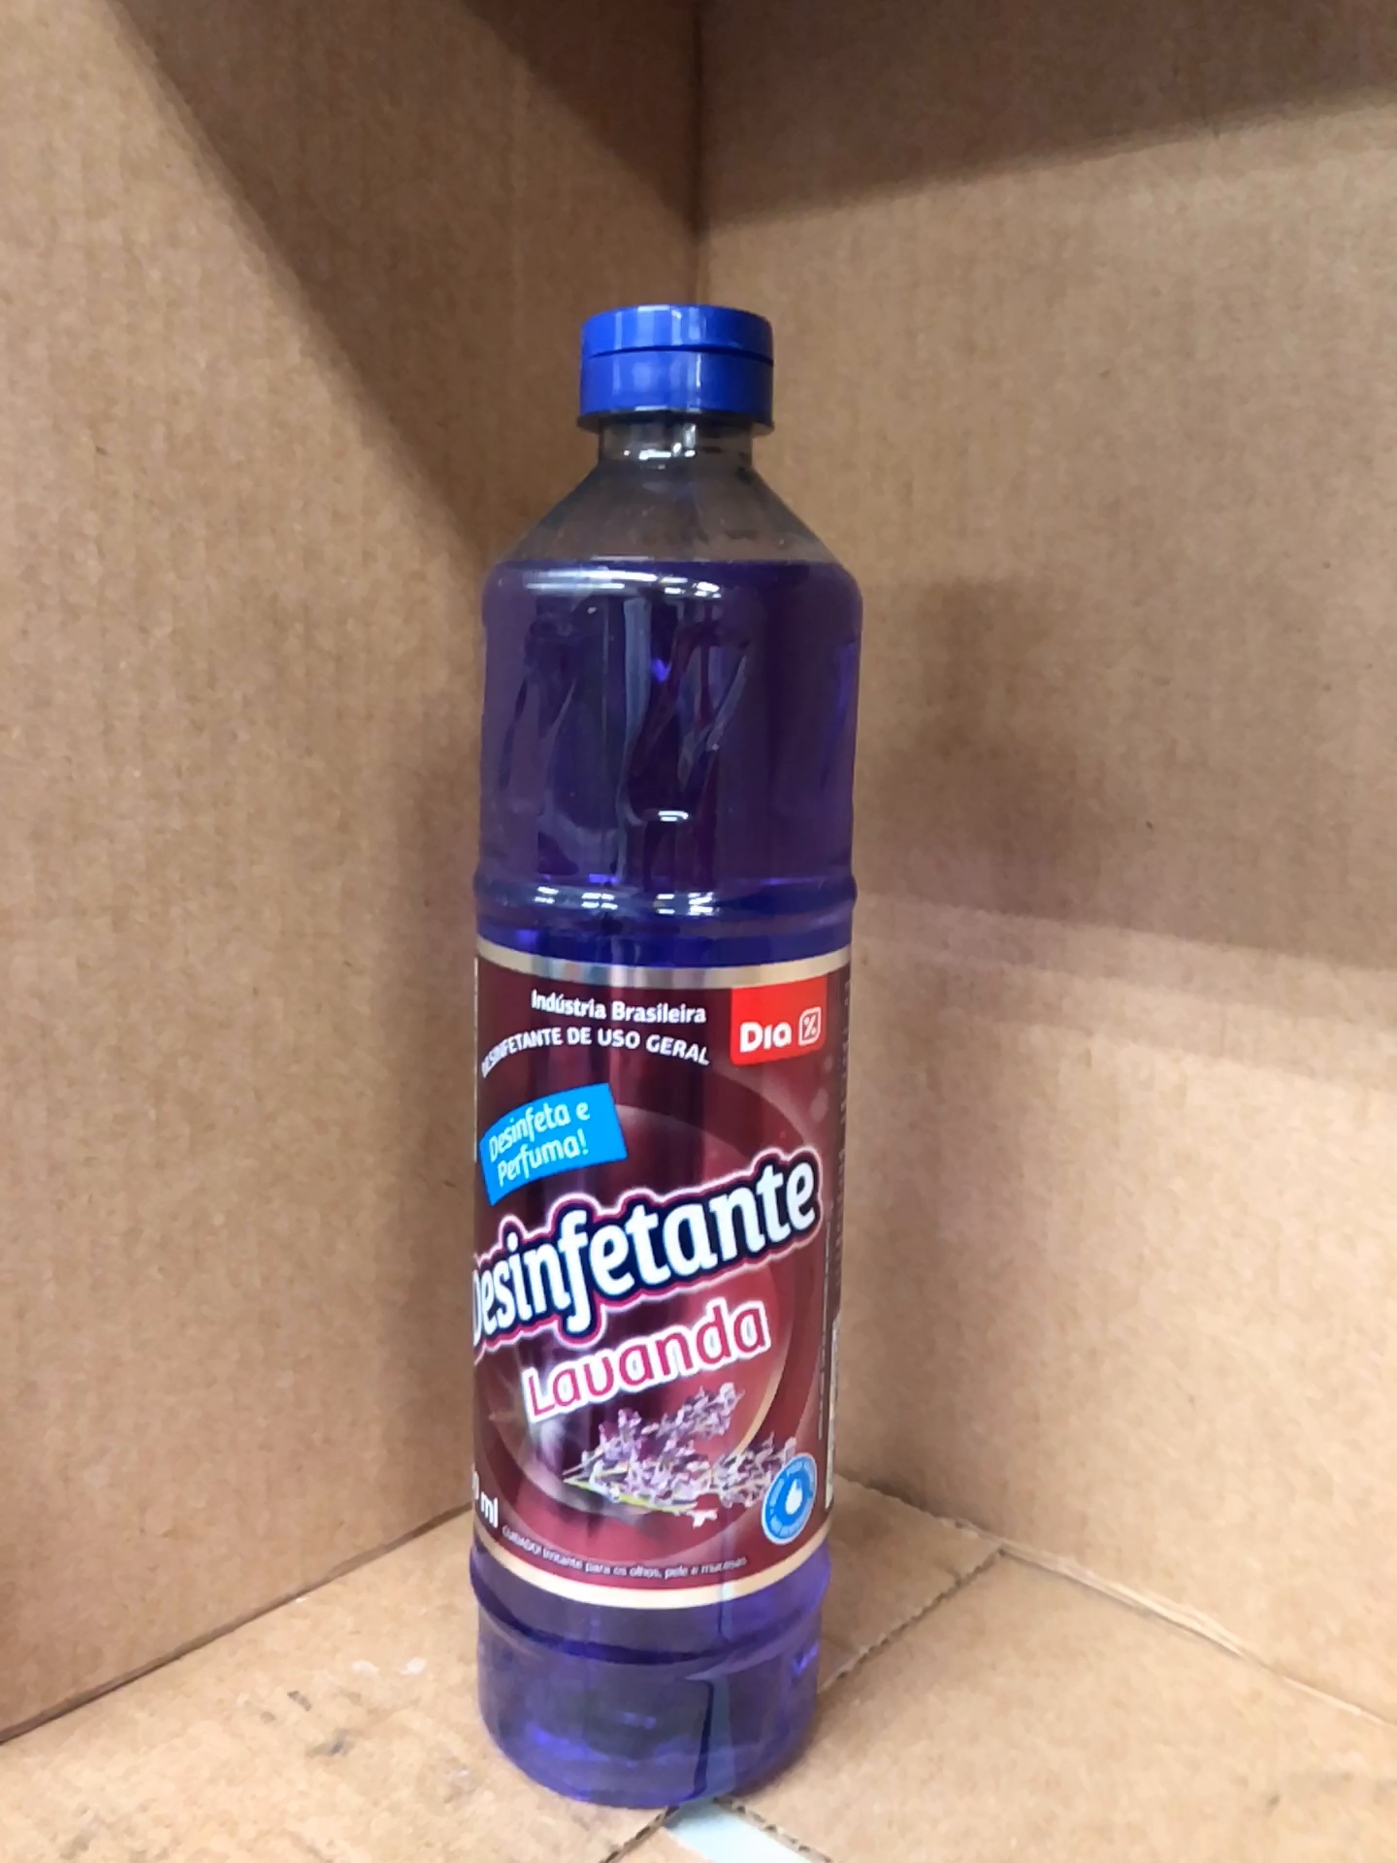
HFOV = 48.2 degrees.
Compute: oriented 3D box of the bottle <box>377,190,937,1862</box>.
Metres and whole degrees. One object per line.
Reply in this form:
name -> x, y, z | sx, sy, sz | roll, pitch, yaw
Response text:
bottle -> -0.002, 0.017, 0.256 | 0.070, 0.239, 0.070 | 0, 10, 0
